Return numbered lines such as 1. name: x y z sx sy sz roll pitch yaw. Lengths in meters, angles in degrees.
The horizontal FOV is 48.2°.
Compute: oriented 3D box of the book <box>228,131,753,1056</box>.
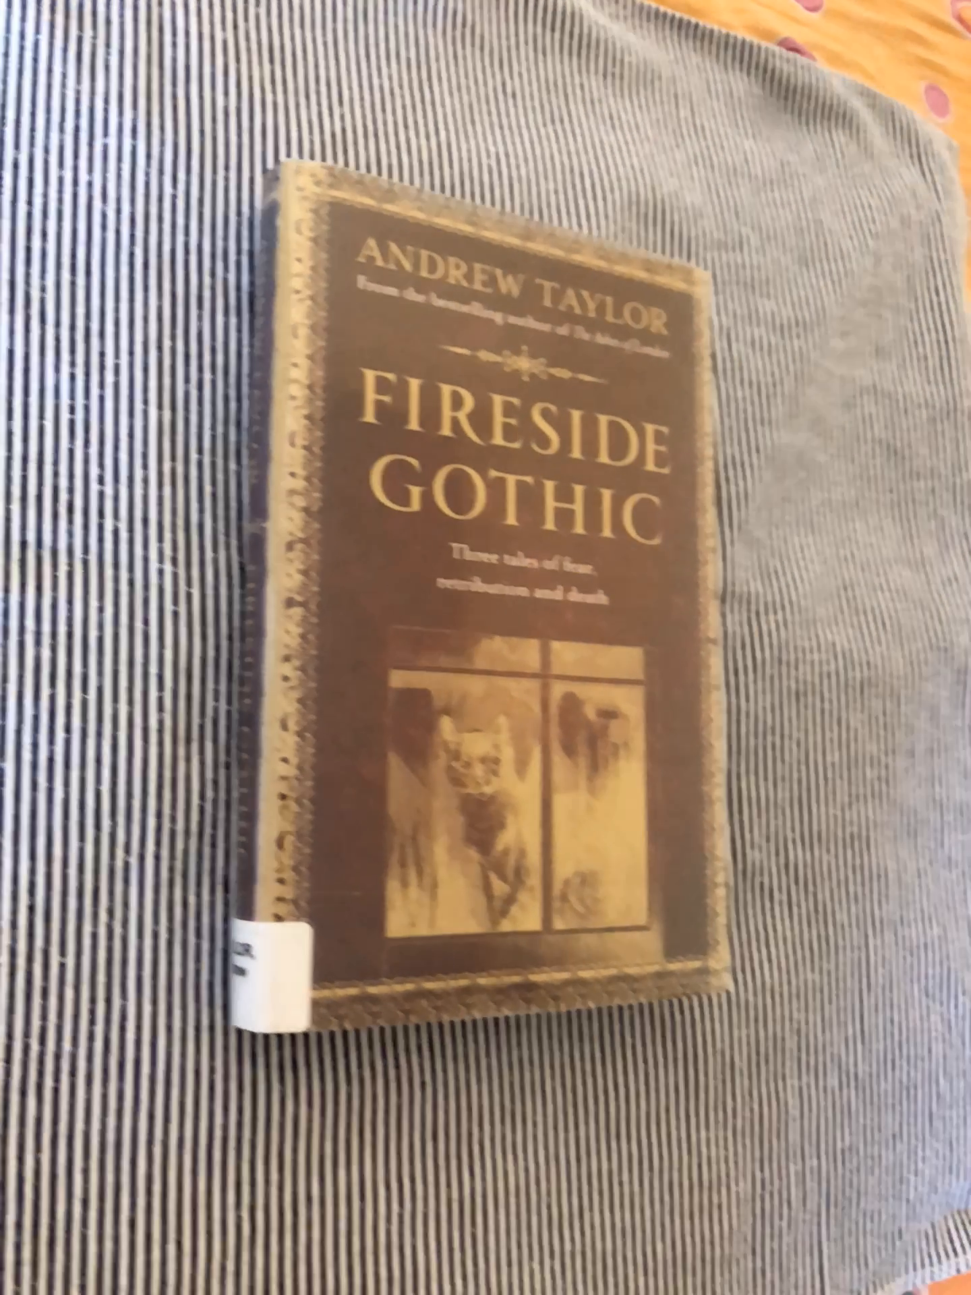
1. book: 0.005 -0.013 0.294 0.140 0.027 0.217 4 80 -29
